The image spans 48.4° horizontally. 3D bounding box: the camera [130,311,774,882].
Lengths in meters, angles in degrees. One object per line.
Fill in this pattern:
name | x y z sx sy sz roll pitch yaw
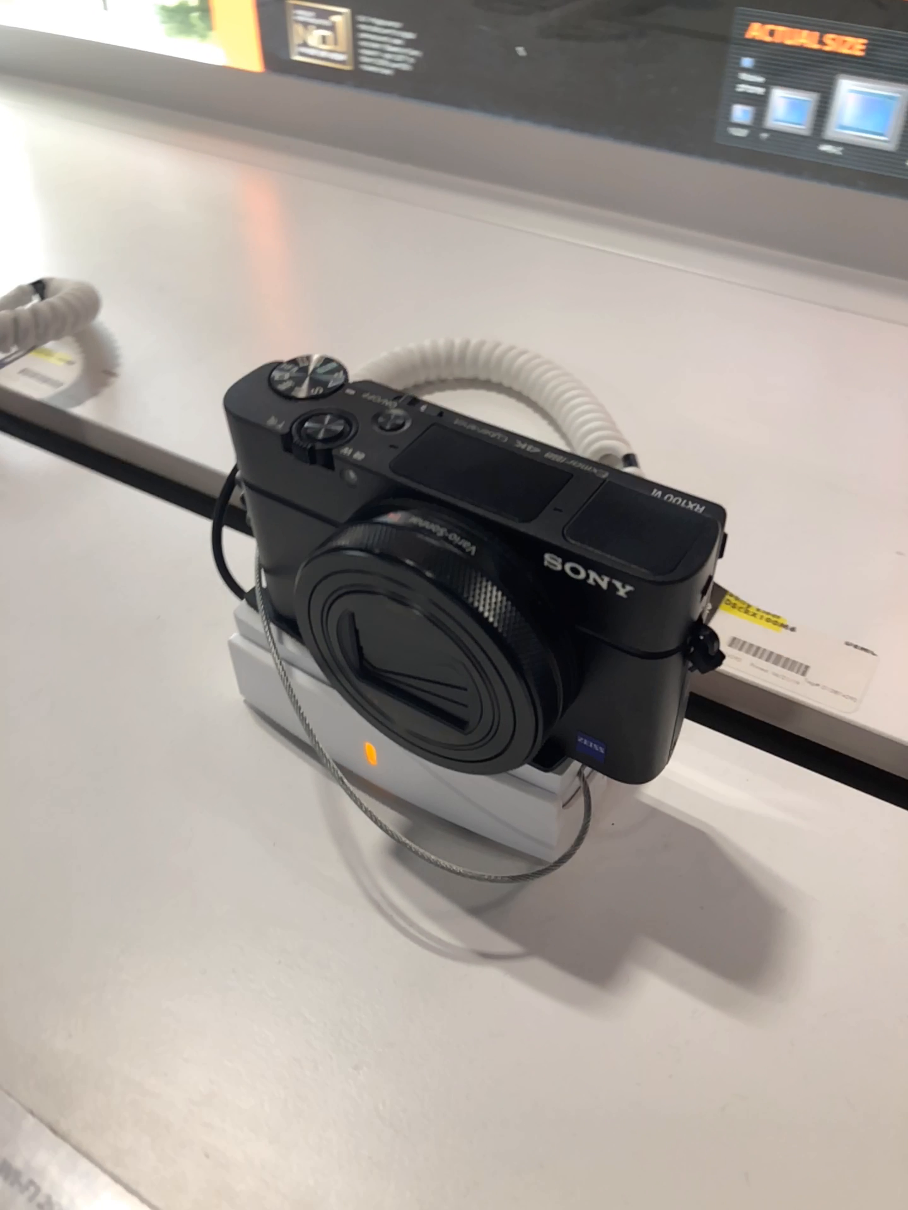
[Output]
camera | -0.003 -0.005 0.203 0.110 0.070 0.040 24 48 23
